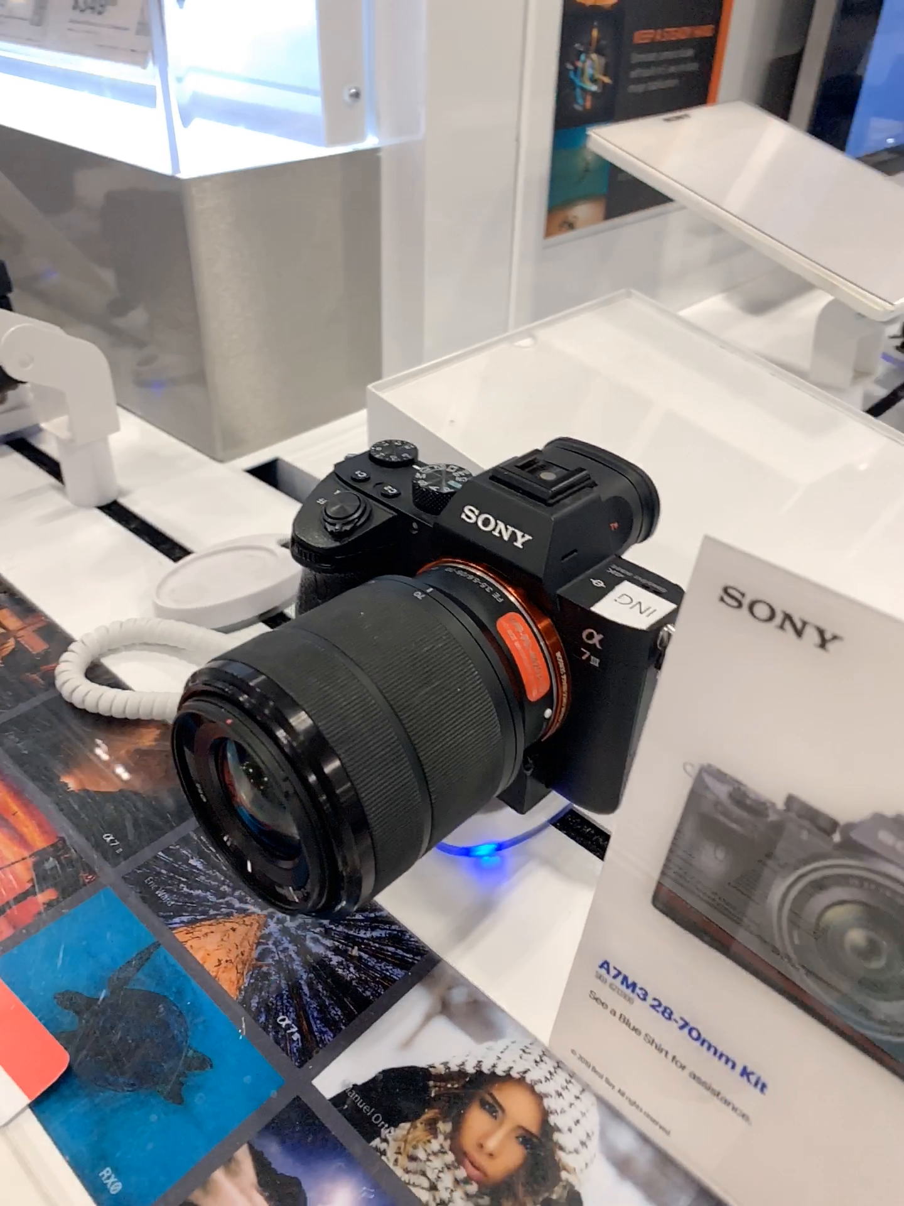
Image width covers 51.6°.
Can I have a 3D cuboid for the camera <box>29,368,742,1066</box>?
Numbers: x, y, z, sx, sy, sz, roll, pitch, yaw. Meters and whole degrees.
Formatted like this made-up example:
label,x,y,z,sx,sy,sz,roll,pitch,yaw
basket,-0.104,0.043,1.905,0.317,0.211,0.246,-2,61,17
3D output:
label,x,y,z,sx,sy,sz,roll,pitch,yaw
camera,-0.013,0.016,0.270,0.119,0.099,0.140,27,44,31
